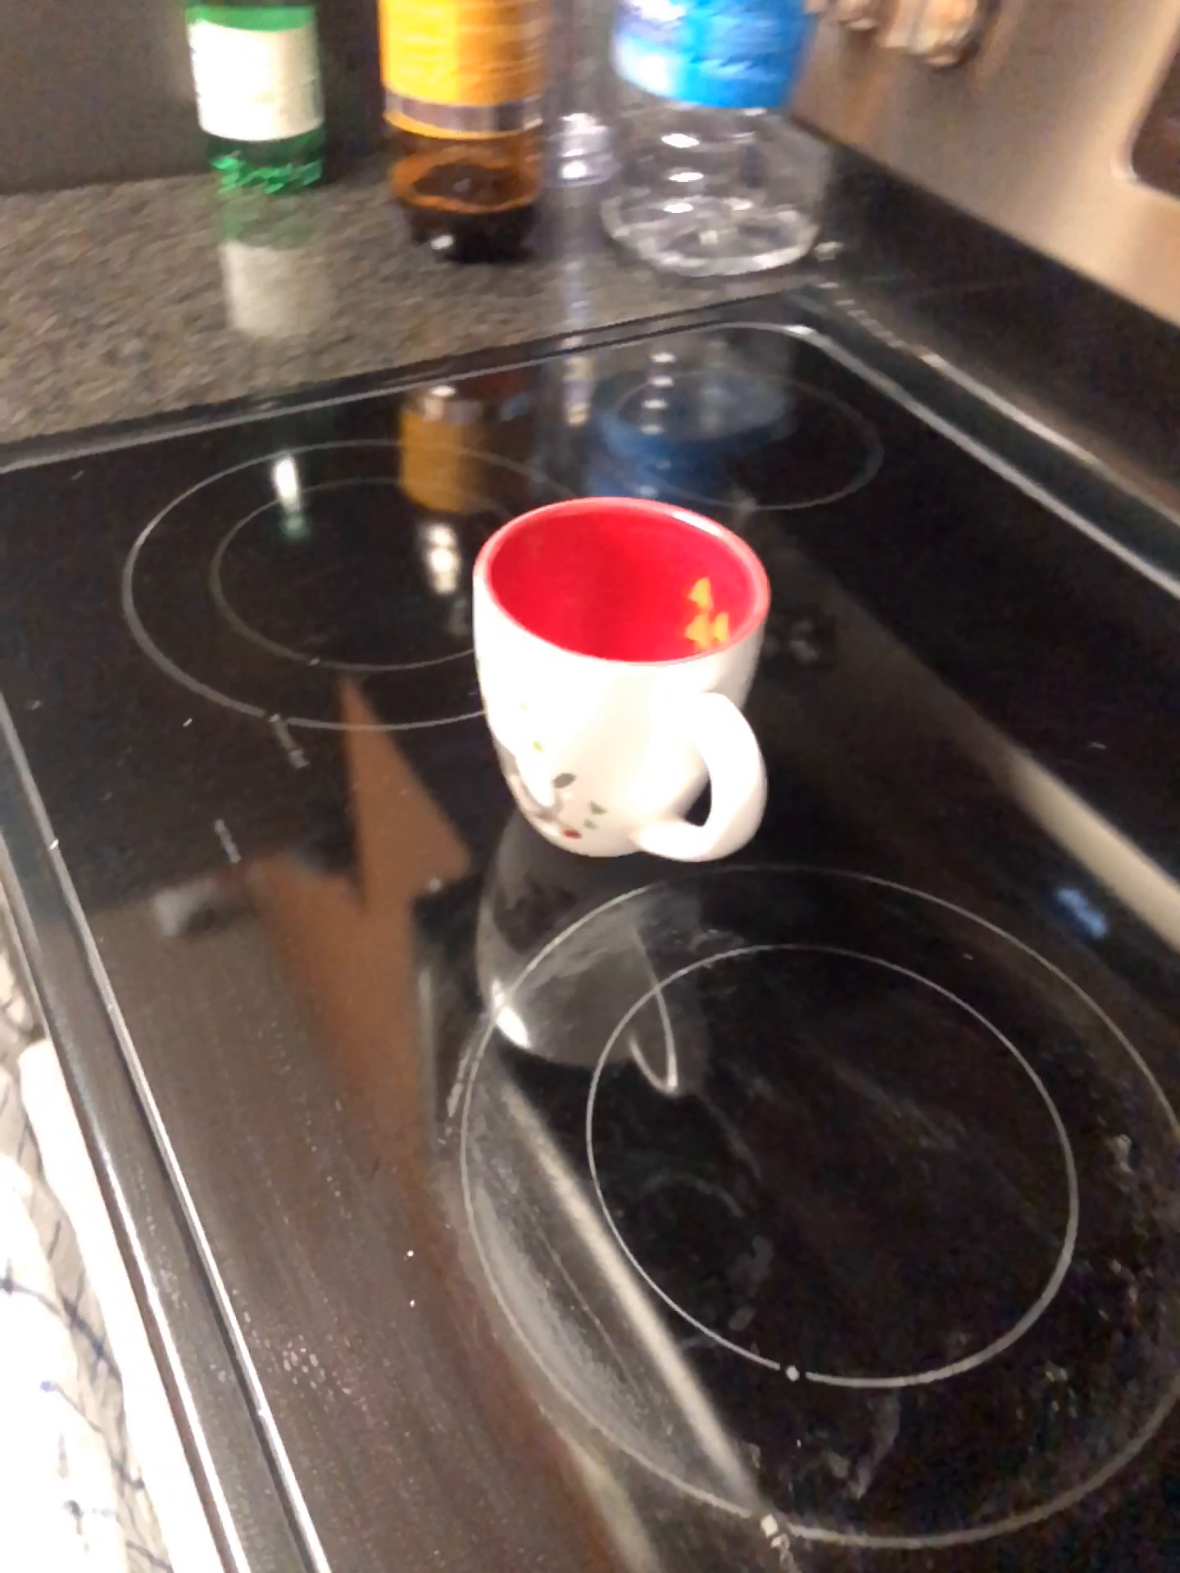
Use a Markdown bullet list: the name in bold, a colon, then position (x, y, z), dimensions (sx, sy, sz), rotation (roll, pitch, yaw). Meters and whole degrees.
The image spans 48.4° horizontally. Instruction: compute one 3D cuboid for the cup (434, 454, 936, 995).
- **cup**: position (0.023, -0.027, 0.455), dimensions (0.100, 0.100, 0.140), rotation (-20, 49, -24)
